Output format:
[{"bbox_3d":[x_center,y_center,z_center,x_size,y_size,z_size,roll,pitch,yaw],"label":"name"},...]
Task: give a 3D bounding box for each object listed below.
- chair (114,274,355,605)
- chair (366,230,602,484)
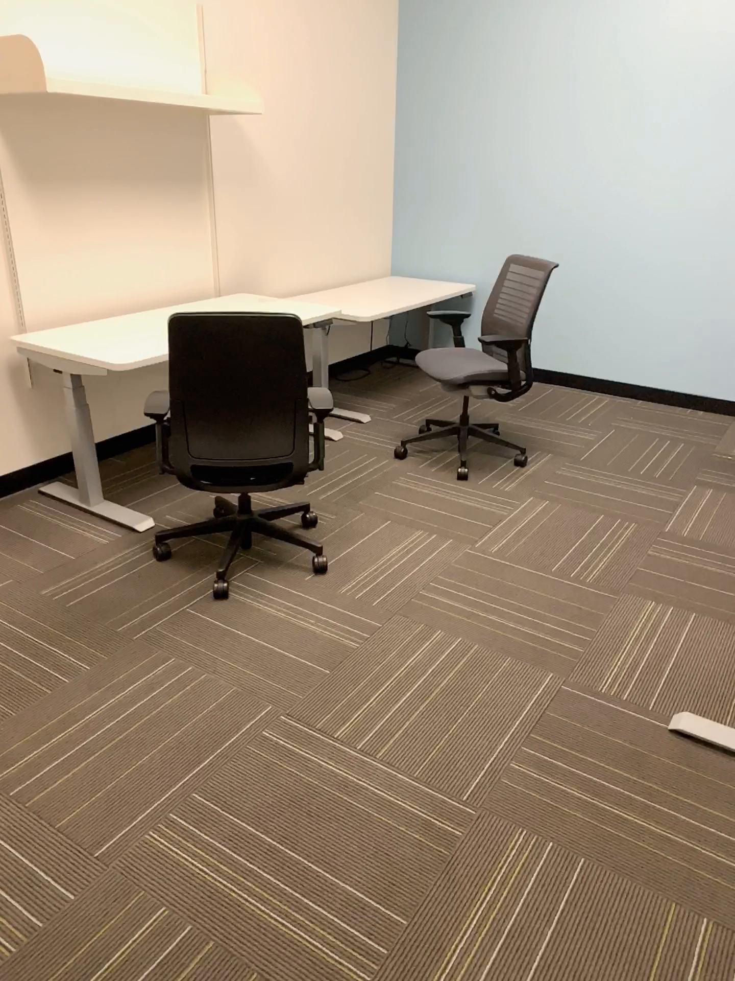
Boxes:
[{"bbox_3d":[-0.461,-0.232,2.667,0.680,0.935,0.774,-4,24,-12],"label":"chair"},{"bbox_3d":[0.482,-0.690,3.618,0.770,0.995,0.895,-4,24,-13],"label":"chair"}]
